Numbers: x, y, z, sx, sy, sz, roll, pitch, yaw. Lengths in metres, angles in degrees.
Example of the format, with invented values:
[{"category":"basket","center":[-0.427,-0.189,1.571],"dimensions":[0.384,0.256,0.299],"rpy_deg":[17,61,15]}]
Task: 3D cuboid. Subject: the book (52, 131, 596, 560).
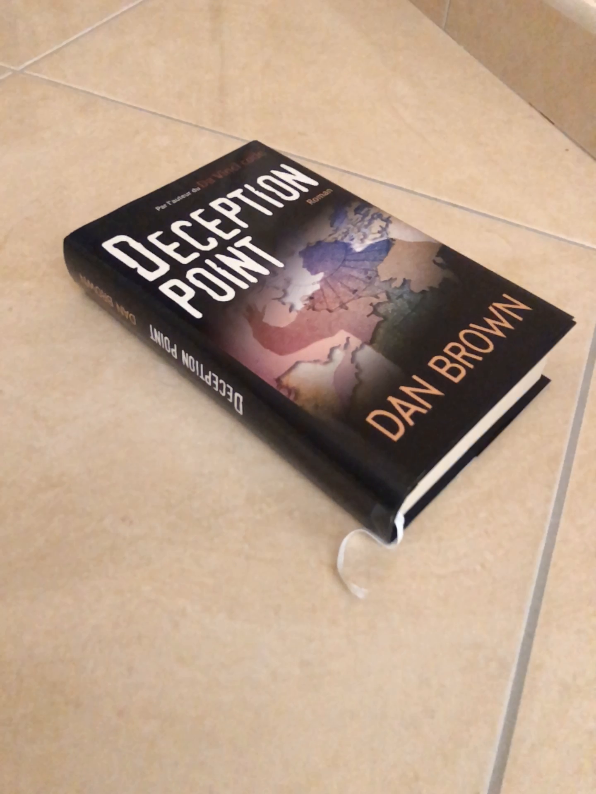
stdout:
[{"category":"book","center":[0.007,-0.045,0.314],"dimensions":[0.212,0.037,0.137],"rpy_deg":[37,58,24]}]
